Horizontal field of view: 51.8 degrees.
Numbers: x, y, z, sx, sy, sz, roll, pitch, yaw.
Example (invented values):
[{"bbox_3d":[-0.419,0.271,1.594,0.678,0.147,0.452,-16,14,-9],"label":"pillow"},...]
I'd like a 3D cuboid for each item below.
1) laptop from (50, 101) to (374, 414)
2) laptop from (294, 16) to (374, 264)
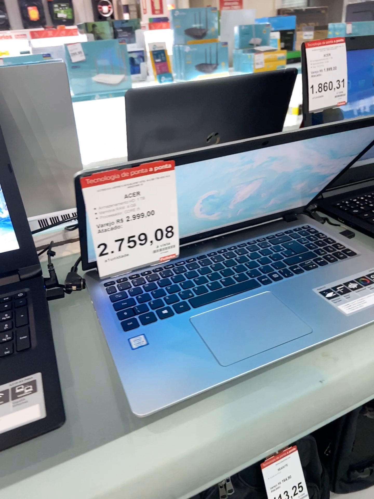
[{"bbox_3d":[0.065,-0.038,0.429,0.353,0.175,0.237,-15,31,-20],"label":"laptop"},{"bbox_3d":[0.412,-0.194,0.588,0.354,0.238,0.289,-16,31,-18],"label":"laptop"}]
